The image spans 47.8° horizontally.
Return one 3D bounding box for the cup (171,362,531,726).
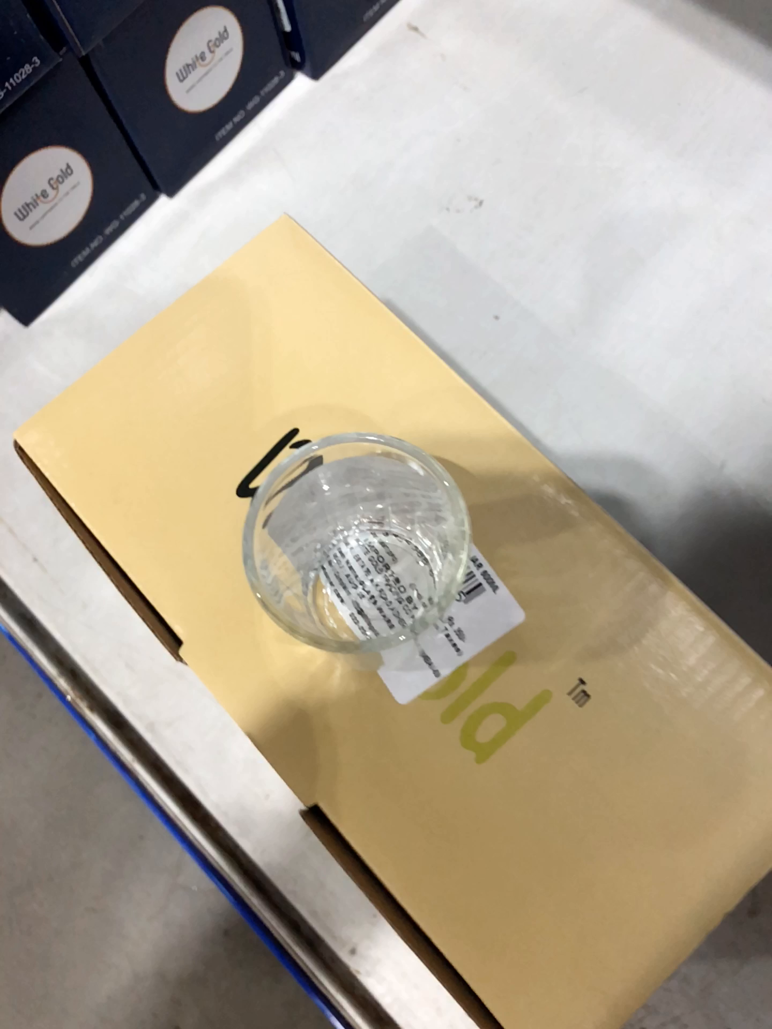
[{"bbox_3d":[-0.004,0.010,0.195,0.050,0.060,0.050,-2,74,6],"label":"cup"}]
